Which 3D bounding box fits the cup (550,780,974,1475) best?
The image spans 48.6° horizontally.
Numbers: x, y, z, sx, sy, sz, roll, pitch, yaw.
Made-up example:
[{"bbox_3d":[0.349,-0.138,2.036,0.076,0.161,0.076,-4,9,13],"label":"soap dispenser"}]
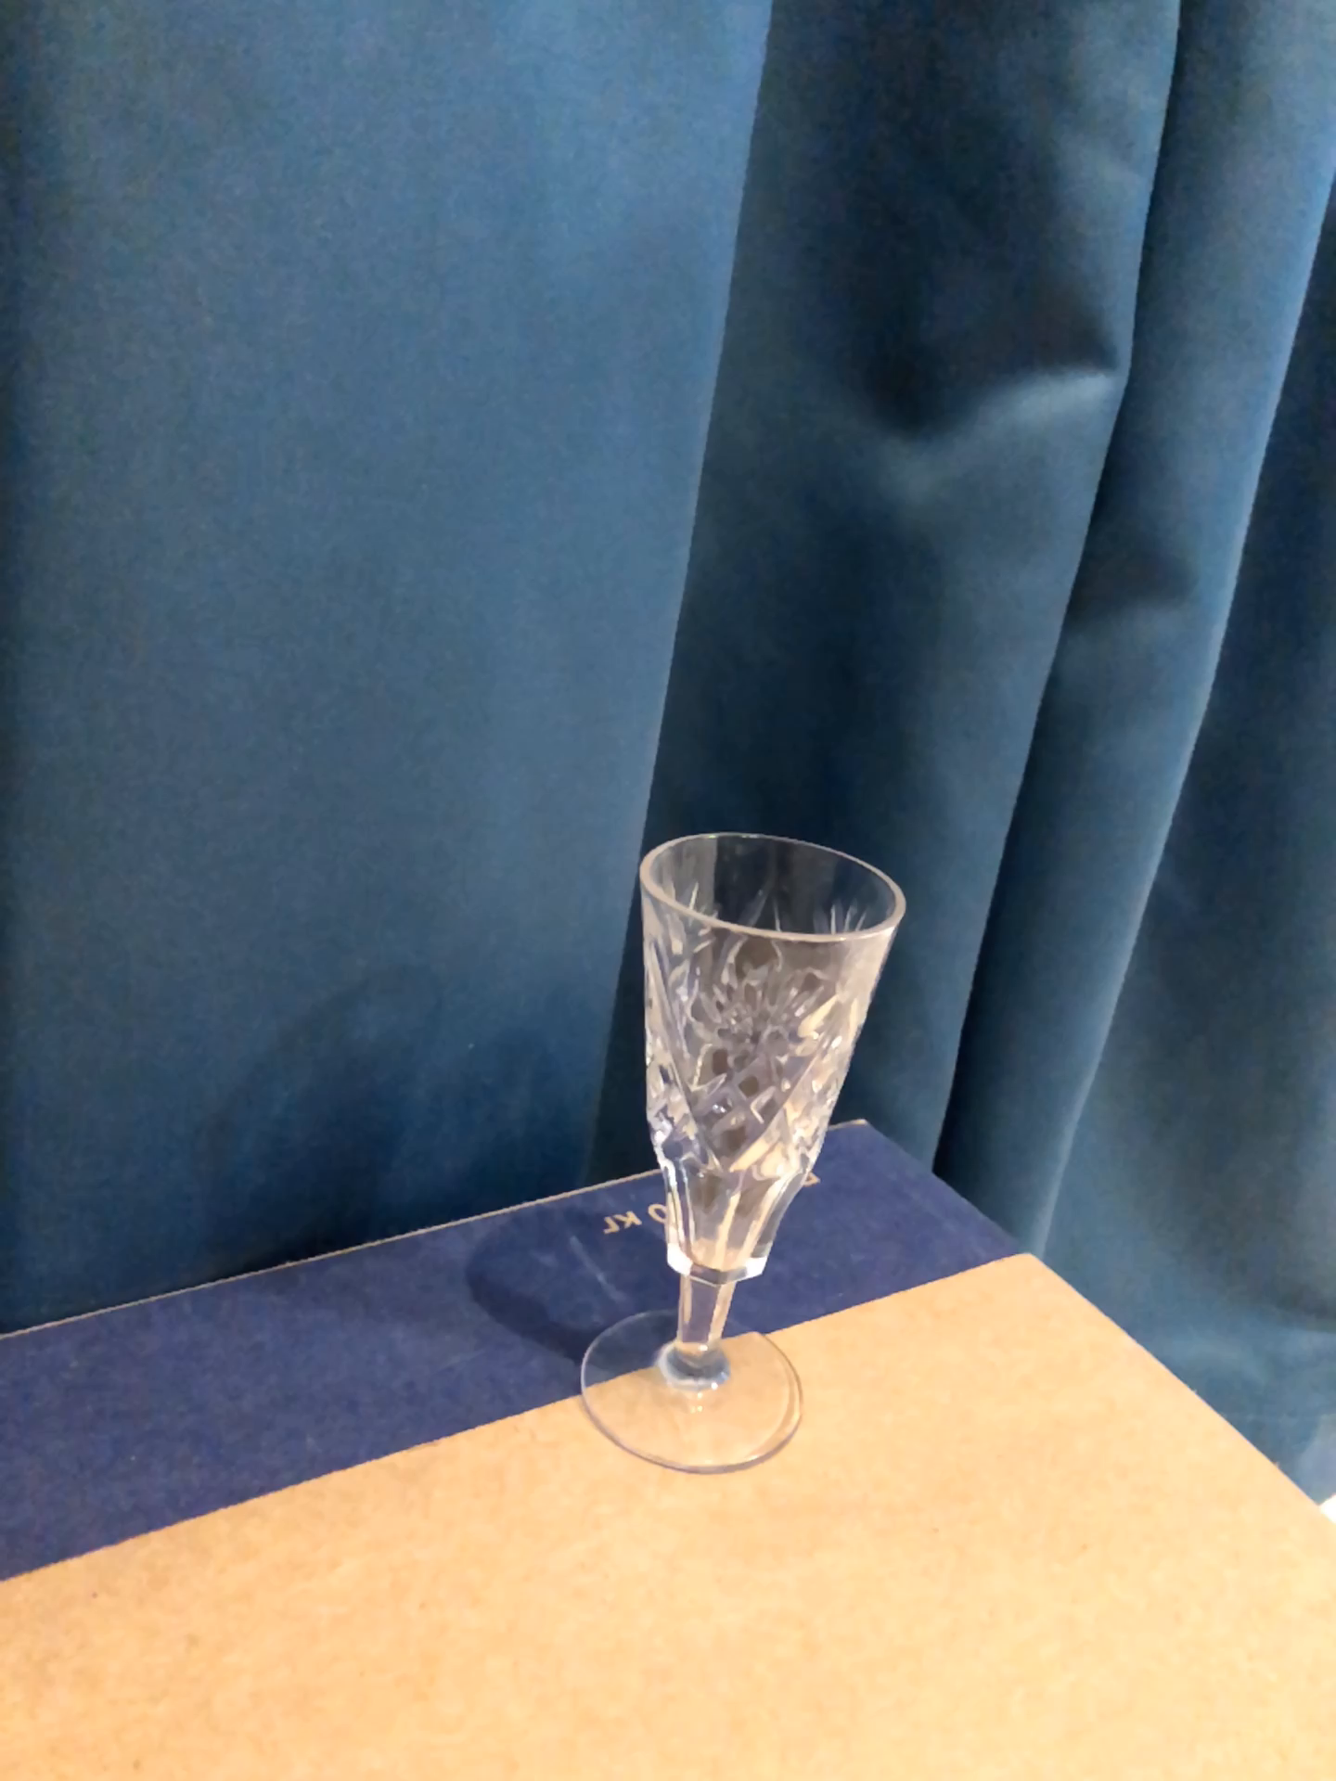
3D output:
[{"bbox_3d":[0.012,0.046,0.277,0.053,0.119,0.051,7,25,-3],"label":"cup"}]
